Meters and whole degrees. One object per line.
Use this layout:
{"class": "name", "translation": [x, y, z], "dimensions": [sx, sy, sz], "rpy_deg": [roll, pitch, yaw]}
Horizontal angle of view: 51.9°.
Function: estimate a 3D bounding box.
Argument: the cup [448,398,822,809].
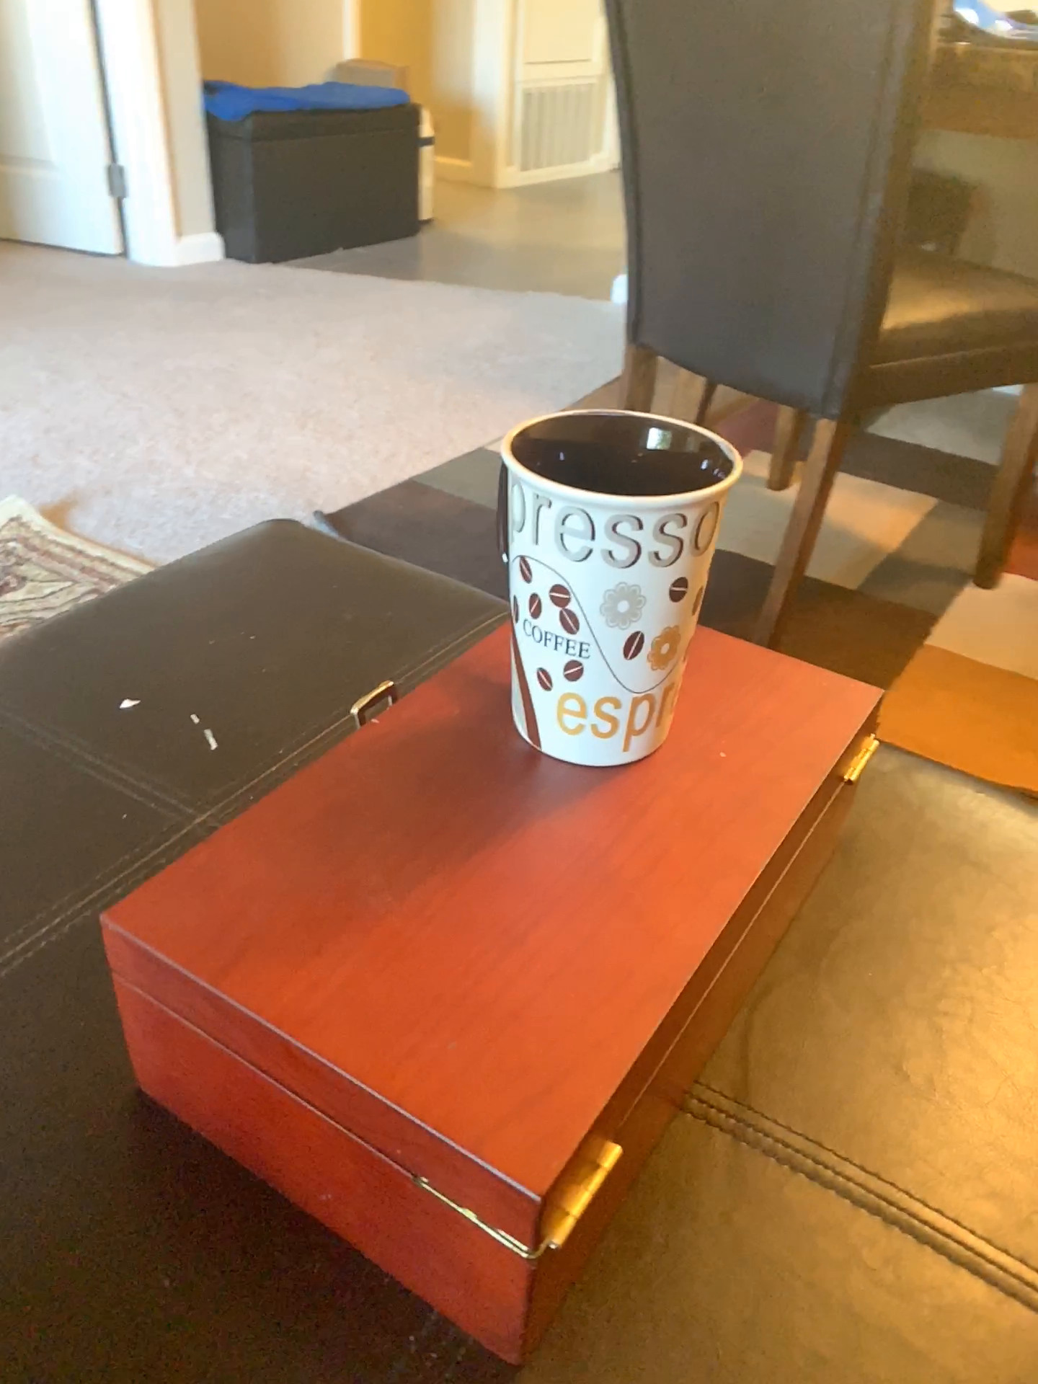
{"class": "cup", "translation": [0.039, -0.040, 0.418], "dimensions": [0.090, 0.109, 0.100], "rpy_deg": [-20, 41, -31]}
